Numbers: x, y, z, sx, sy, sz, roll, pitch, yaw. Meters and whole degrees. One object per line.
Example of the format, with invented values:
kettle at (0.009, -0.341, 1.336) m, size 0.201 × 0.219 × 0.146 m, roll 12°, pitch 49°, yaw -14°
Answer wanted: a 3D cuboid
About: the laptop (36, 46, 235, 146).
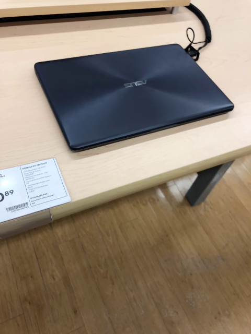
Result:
laptop at (0.022, -0.168, 0.575) m, size 0.346 × 0.002 × 0.229 m, roll -17°, pitch 58°, yaw -21°
